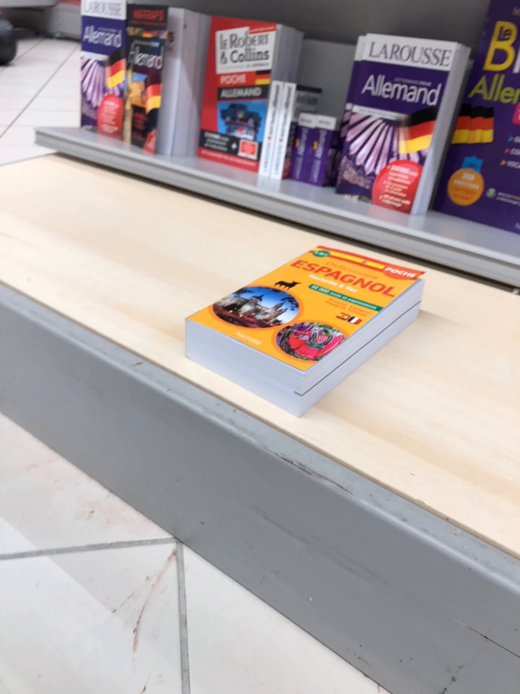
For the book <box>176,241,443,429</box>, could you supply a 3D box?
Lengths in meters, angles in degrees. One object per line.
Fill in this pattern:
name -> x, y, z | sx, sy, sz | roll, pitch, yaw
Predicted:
book -> 0.045, -0.023, 0.454 | 0.117, 0.040, 0.191 | 24, 39, 32
